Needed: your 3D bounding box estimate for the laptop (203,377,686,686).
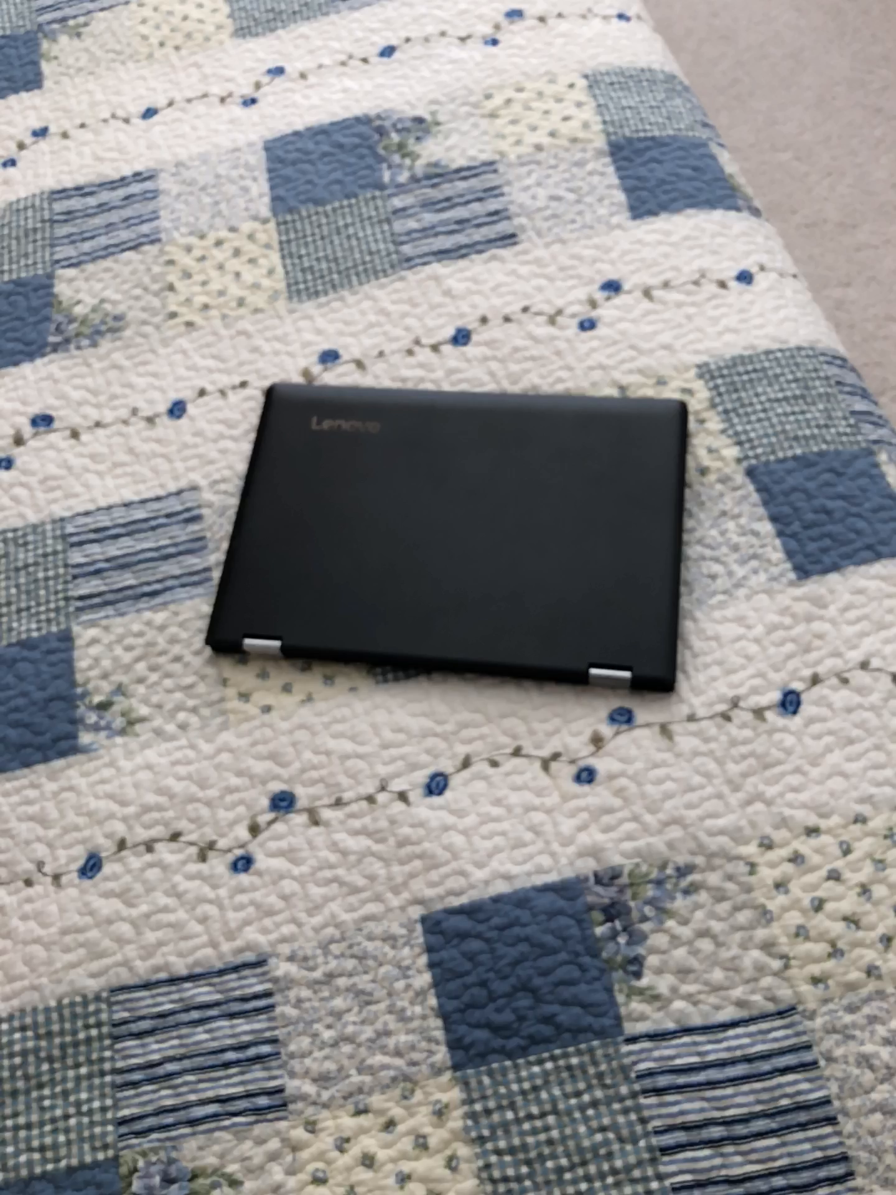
[{"bbox_3d":[0.002,-0.057,0.718,0.320,0.008,0.224,4,67,9],"label":"laptop"}]
